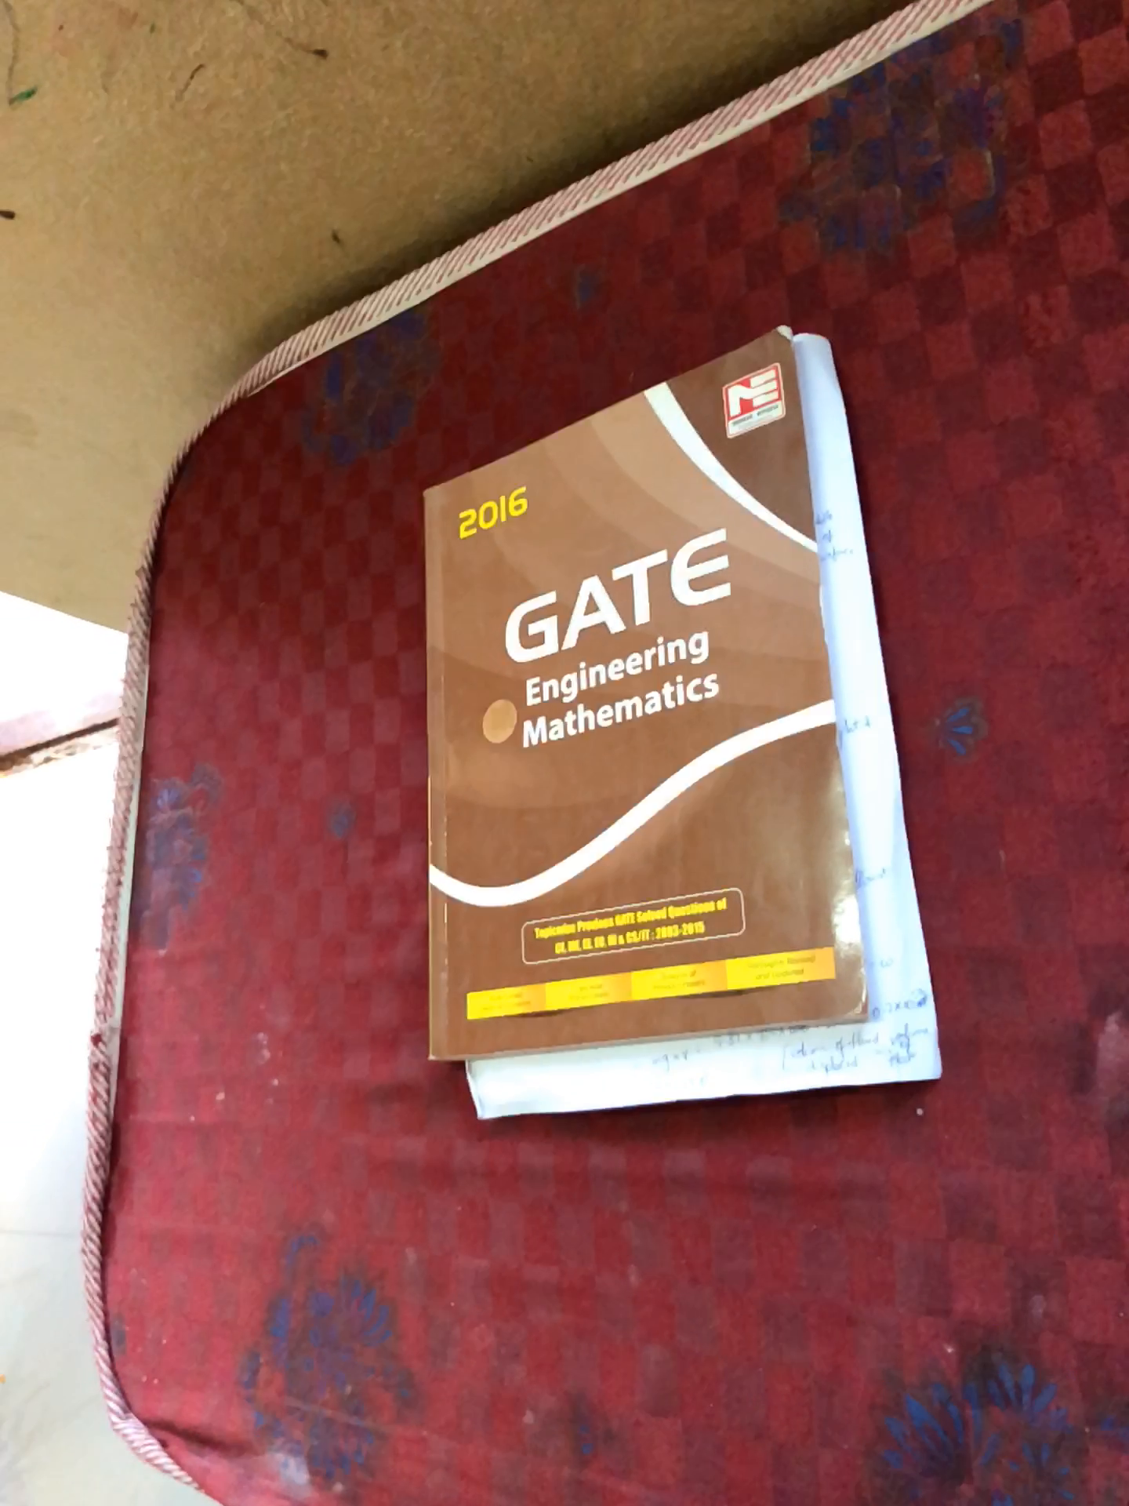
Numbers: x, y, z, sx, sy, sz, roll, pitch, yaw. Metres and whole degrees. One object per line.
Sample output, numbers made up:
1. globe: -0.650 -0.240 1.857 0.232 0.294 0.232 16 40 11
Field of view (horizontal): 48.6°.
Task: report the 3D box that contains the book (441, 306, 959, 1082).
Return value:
1. book: 0.041 -0.017 0.554 0.221 0.040 0.300 -15 67 35
